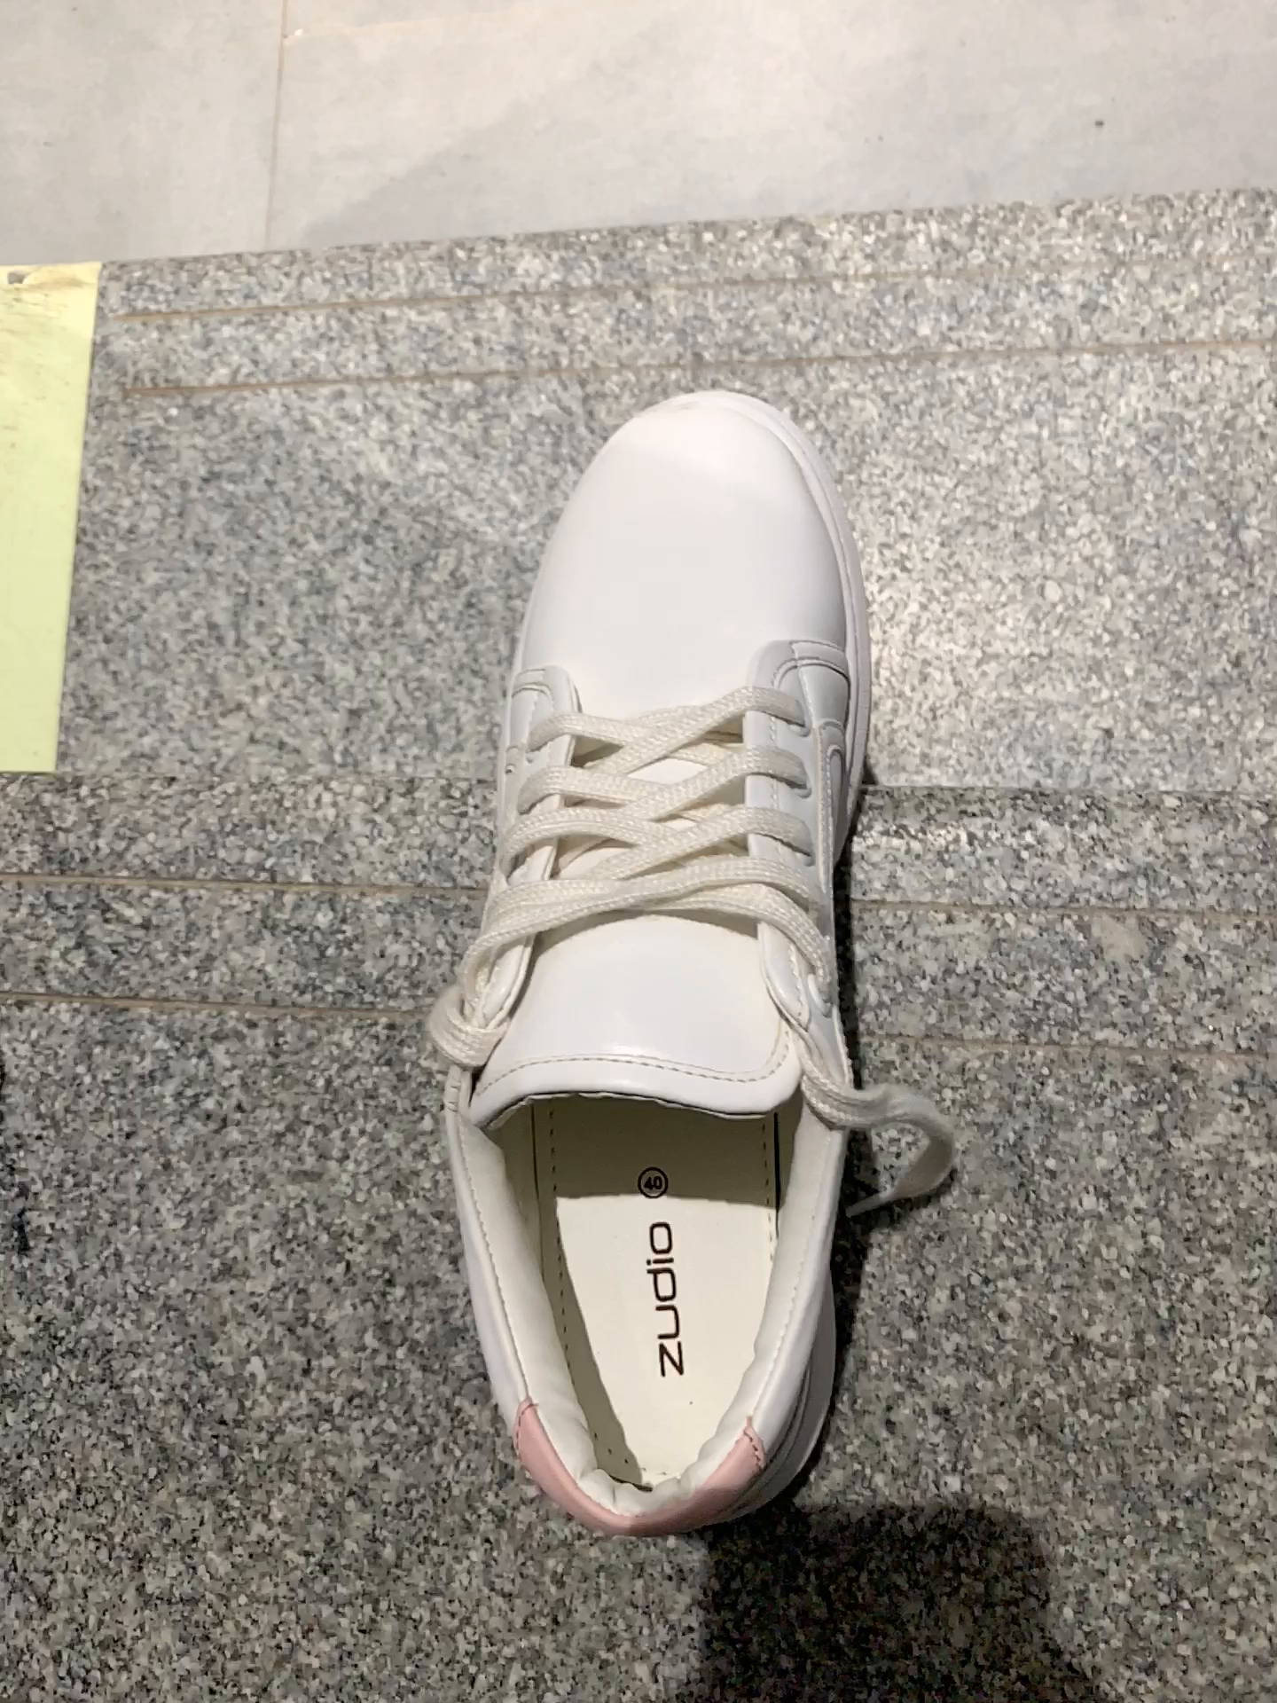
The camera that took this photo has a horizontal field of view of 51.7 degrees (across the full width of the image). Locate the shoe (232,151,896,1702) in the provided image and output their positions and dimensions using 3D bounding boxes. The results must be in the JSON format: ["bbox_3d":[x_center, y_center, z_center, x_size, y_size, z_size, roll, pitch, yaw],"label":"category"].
[{"bbox_3d":[-0.001,0.021,0.290,0.110,0.110,0.290,1,83,11],"label":"shoe"}]
